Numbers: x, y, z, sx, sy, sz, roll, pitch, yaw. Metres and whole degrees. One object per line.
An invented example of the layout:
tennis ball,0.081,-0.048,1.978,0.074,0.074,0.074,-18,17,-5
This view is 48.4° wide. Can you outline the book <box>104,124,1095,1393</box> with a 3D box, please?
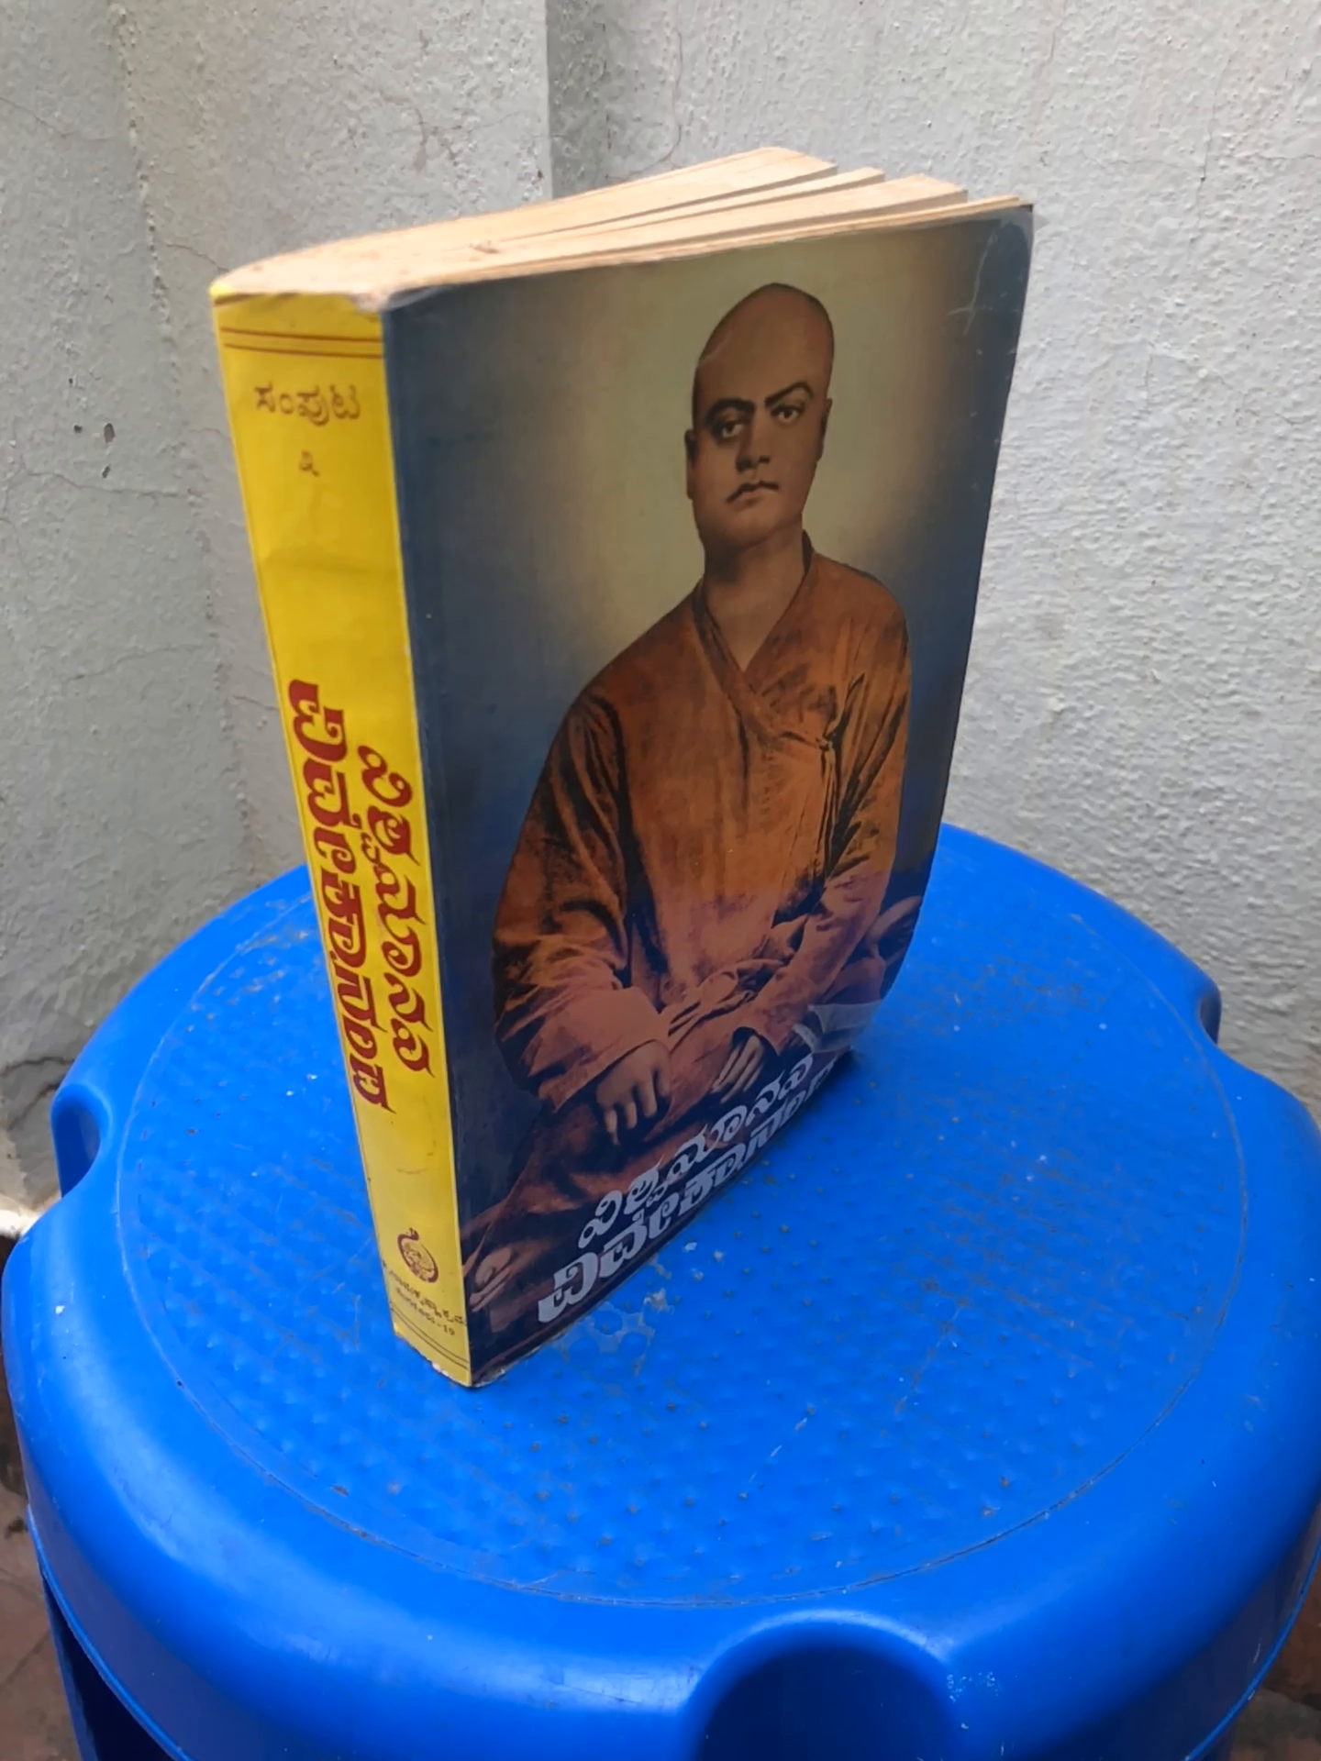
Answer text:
book,0.007,-0.035,0.301,0.050,0.199,0.191,24,40,36
